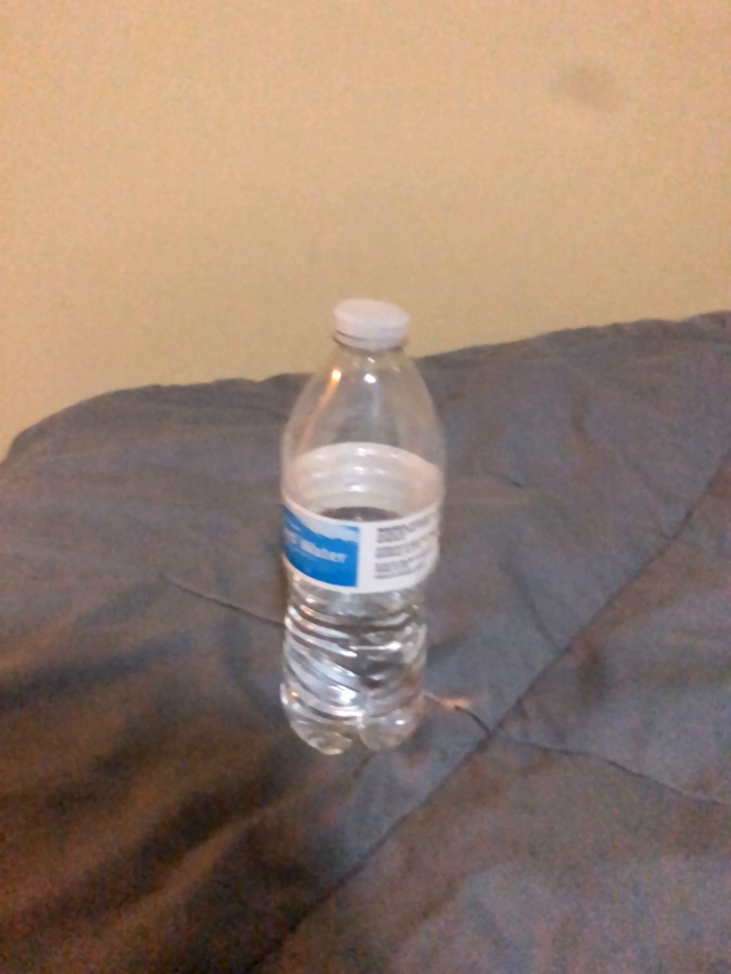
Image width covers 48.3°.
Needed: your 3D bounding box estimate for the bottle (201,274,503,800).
[{"bbox_3d":[-0.009,0.019,0.341,0.080,0.189,0.080,1,27,-1],"label":"bottle"}]
